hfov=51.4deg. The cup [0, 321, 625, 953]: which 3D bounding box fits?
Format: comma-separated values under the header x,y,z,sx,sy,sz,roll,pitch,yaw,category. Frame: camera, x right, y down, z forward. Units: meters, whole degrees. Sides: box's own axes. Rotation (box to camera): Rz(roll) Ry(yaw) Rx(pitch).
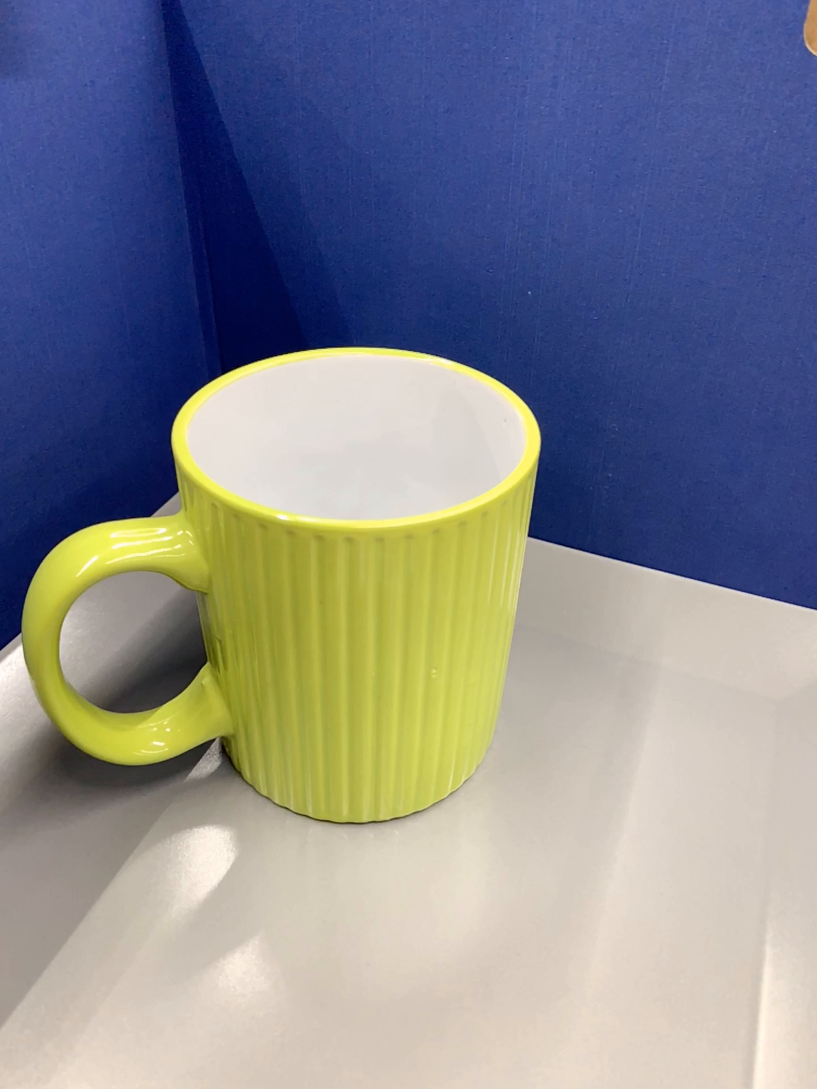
x,y,z,sx,sy,sz,roll,pitch,yaw,category
-0.031,0.013,0.223,0.129,0.098,0.091,-16,38,-23,cup
